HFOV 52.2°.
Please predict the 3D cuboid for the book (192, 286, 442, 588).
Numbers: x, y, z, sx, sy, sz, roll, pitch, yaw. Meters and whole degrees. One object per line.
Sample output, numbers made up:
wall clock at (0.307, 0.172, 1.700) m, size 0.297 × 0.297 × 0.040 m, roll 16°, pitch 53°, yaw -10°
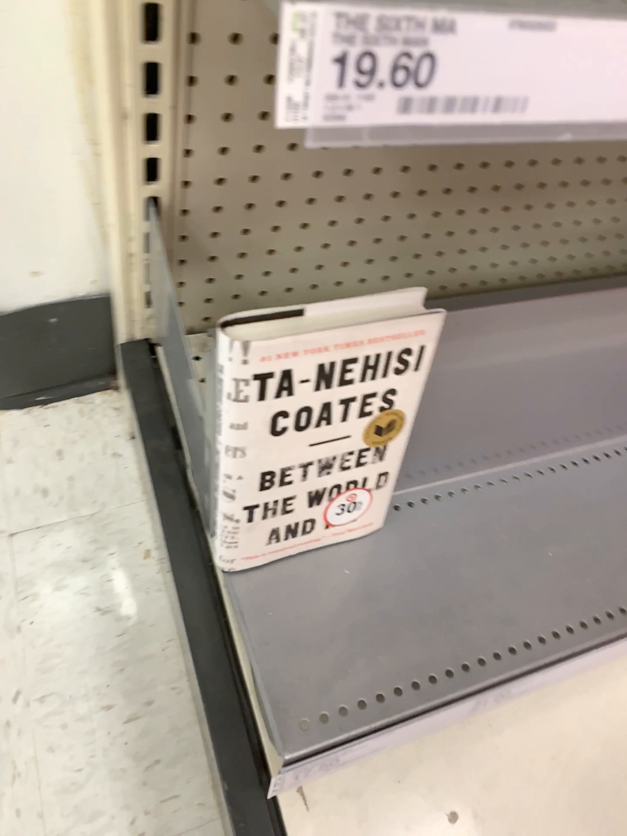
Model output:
book at (-0.002, 0.018, 0.393) m, size 0.129 × 0.187 × 0.030 m, roll -12°, pitch 43°, yaw -20°
